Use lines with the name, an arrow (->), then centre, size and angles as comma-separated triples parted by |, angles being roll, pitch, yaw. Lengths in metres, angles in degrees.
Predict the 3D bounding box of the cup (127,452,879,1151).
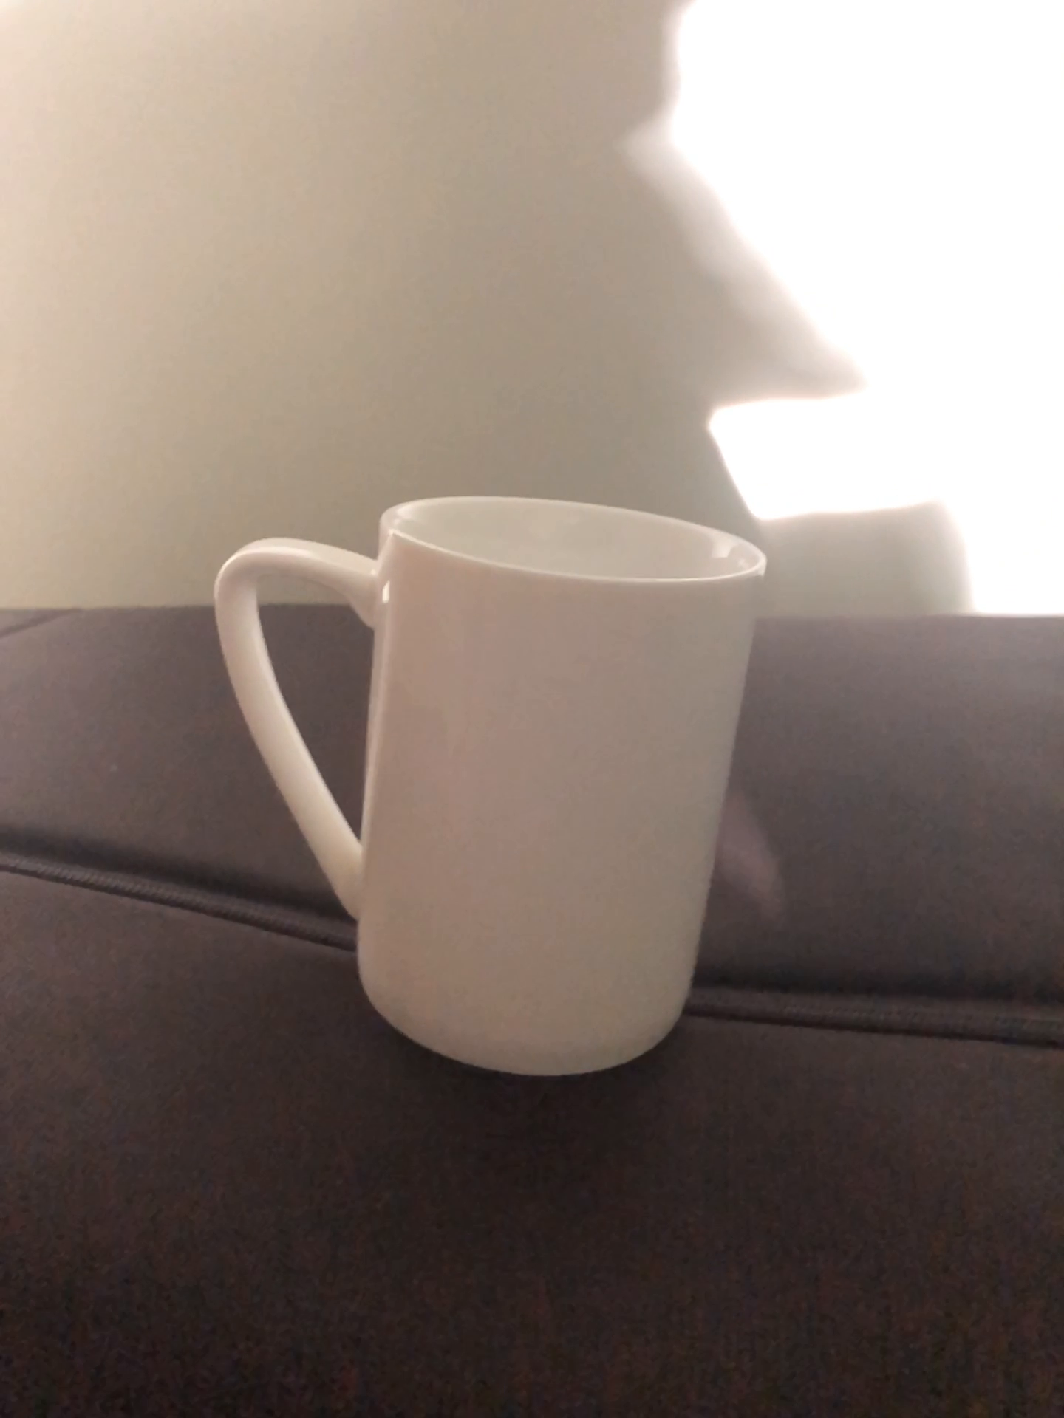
cup -> -0.004, 0.003, 0.239 | 0.108, 0.090, 0.097 | 15, 19, 24
